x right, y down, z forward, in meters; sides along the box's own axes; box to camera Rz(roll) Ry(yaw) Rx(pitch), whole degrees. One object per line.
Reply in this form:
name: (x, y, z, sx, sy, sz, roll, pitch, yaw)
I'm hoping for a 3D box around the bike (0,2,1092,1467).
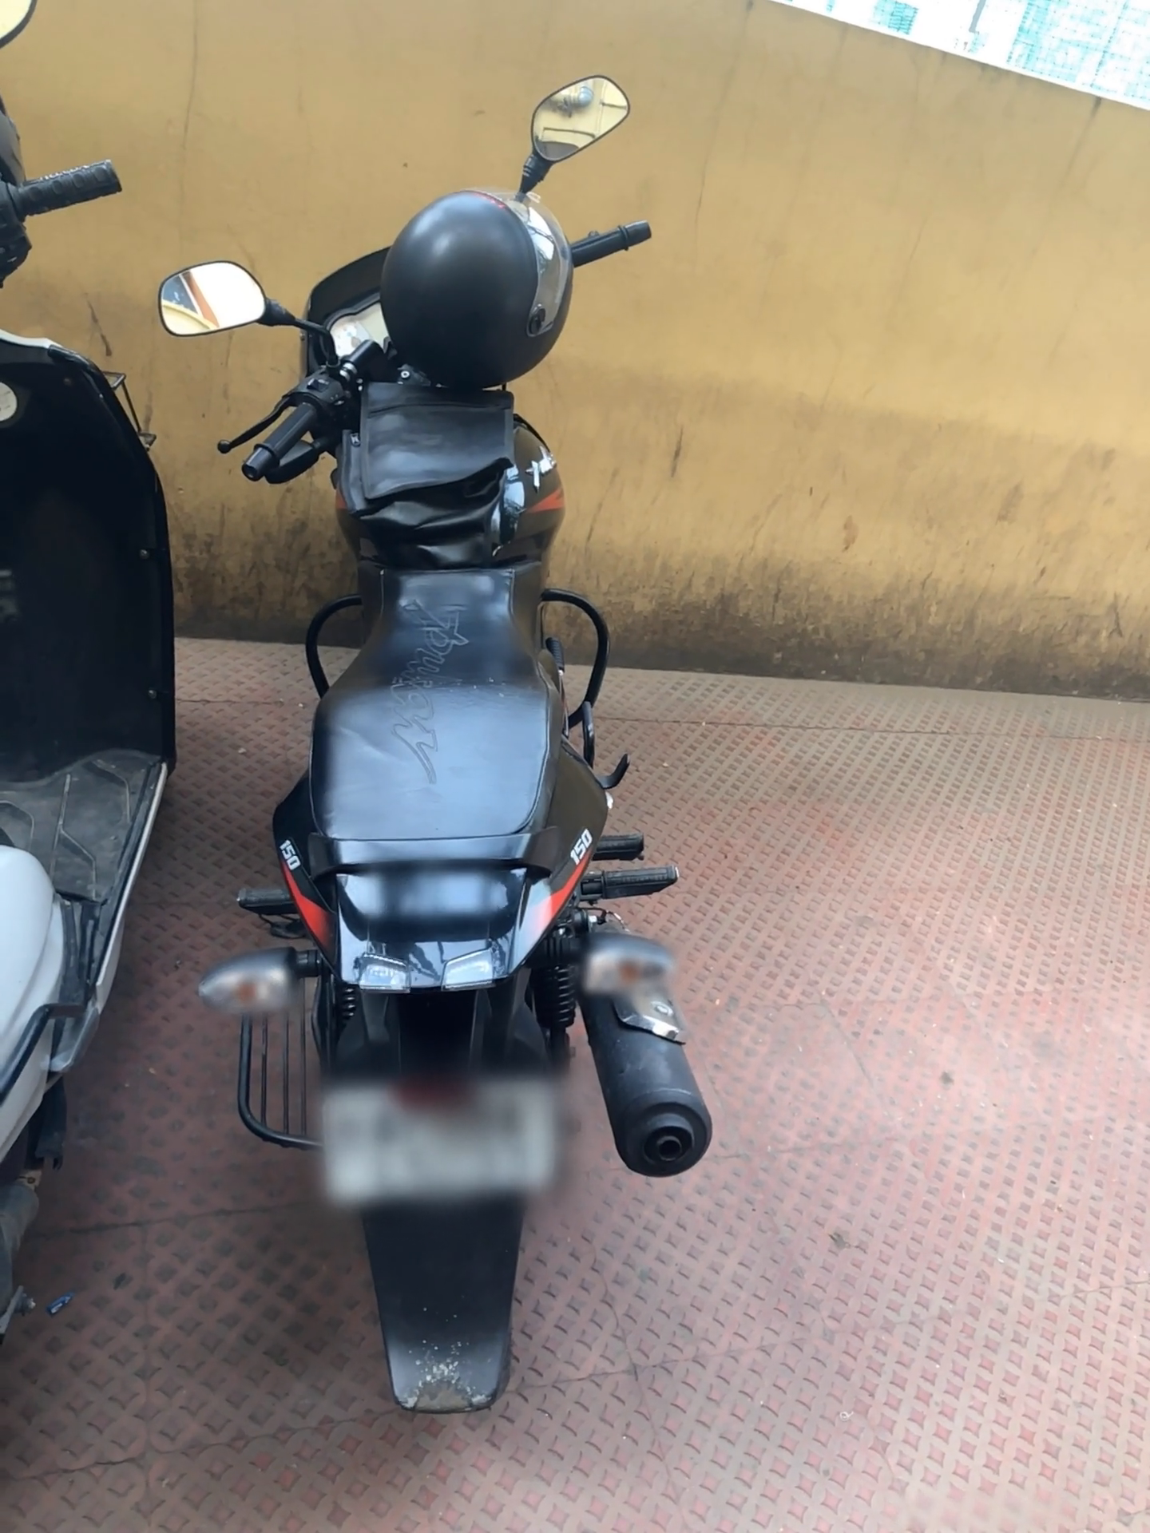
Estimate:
bike: (-0.333, -0.177, 1.700, 0.827, 1.057, 1.611, 4, 37, -19)
